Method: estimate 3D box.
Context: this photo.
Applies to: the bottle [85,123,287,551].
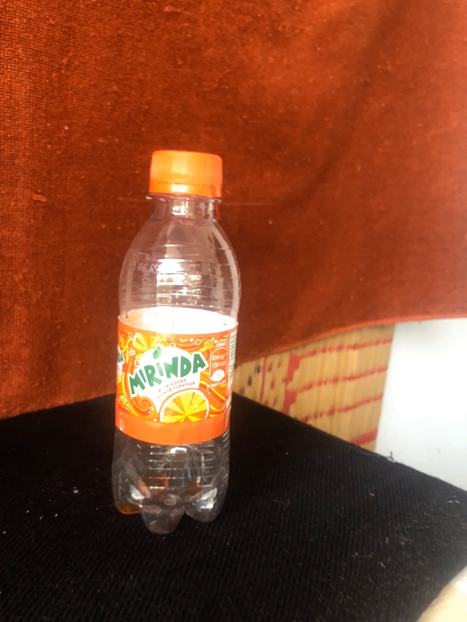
[{"bbox_3d":[-0.019,0.010,0.224,0.060,0.160,0.050,8,12,6],"label":"bottle"}]
